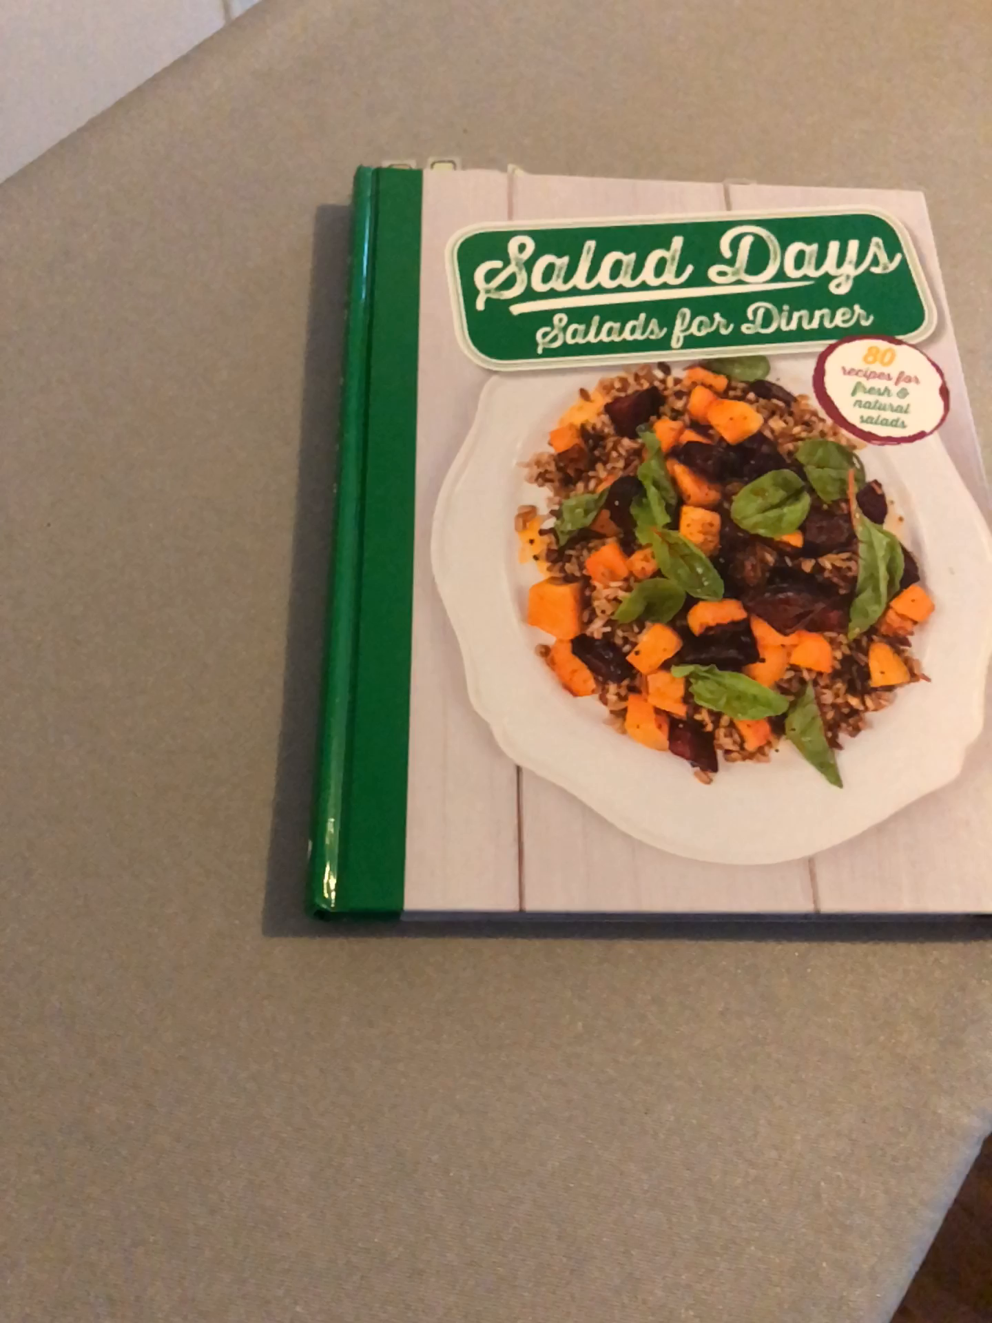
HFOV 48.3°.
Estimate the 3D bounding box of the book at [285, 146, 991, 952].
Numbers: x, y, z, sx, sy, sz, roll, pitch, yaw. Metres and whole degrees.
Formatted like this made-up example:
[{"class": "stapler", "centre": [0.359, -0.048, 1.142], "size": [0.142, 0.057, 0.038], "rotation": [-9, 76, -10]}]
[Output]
[{"class": "book", "centre": [0.051, -0.050, 0.349], "size": [0.213, 0.020, 0.275], "rotation": [1, 65, -4]}]
